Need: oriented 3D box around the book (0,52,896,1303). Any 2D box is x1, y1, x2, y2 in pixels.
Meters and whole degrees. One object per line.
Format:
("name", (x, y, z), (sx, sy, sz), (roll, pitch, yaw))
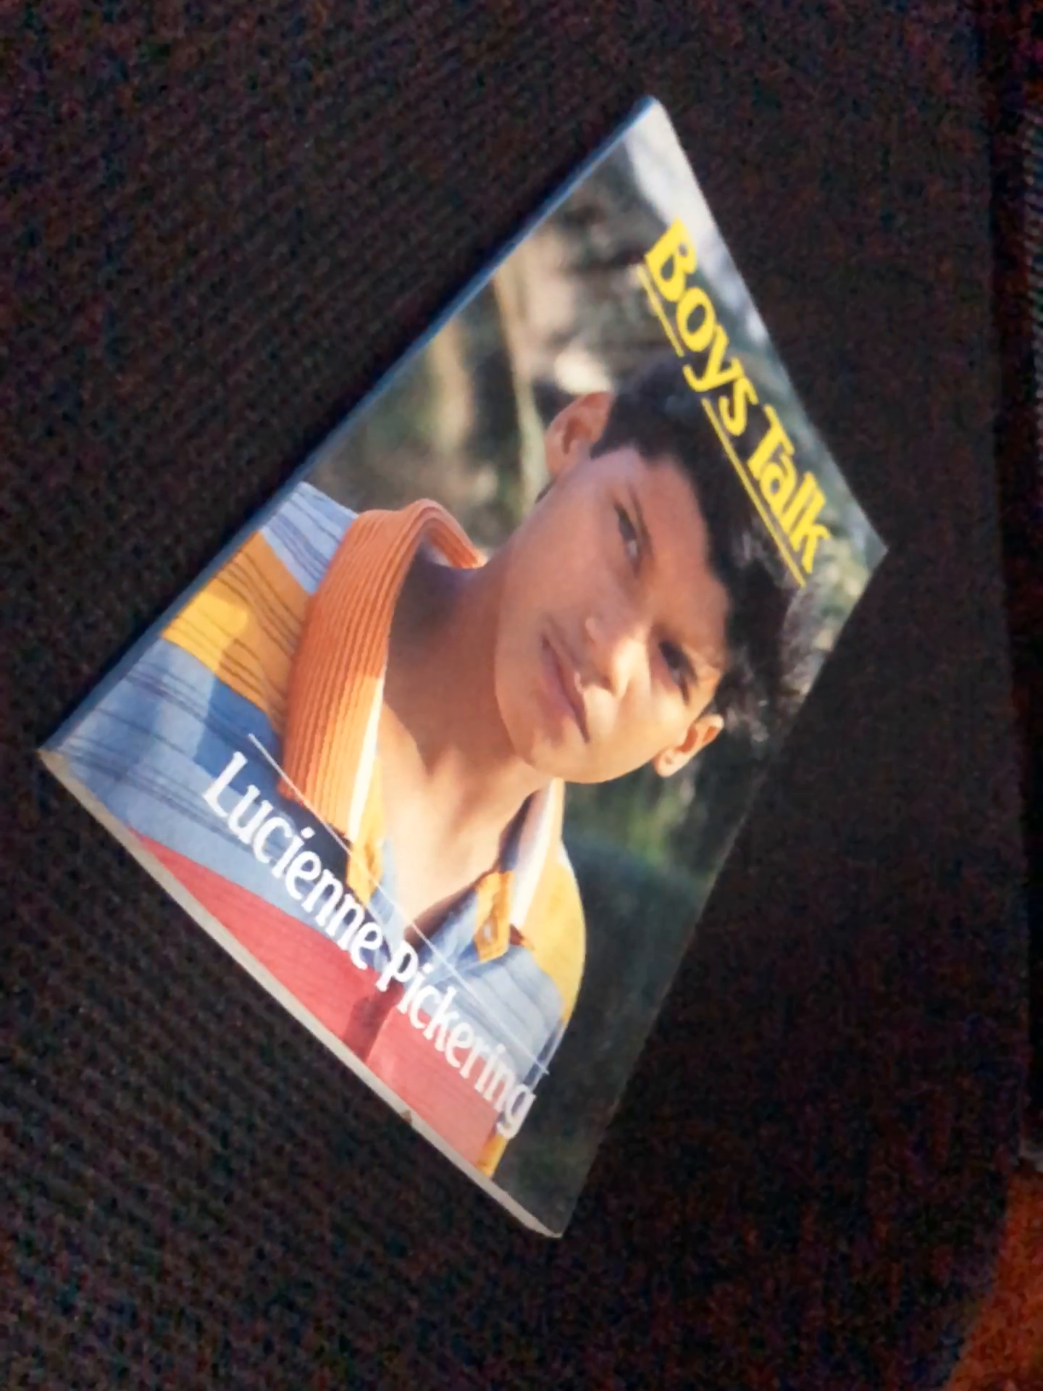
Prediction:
("book", (0.014, -0.013, 0.215), (0.131, 0.010, 0.191), (55, 51, -30))
